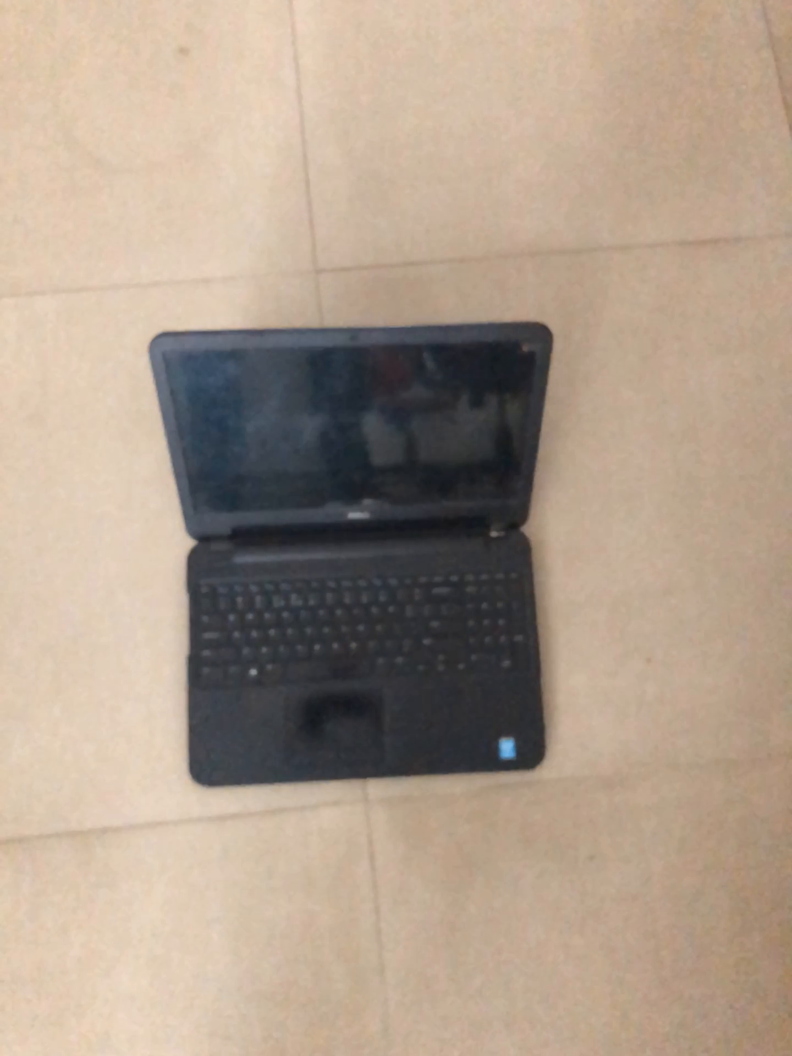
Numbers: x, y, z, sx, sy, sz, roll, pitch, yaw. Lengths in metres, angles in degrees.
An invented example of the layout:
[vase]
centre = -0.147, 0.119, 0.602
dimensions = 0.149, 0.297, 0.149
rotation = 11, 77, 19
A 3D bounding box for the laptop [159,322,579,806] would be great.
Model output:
[laptop]
centre = -0.033, 0.036, 0.850
dimensions = 0.343, 0.179, 0.405
rotation = -3, 80, -2
